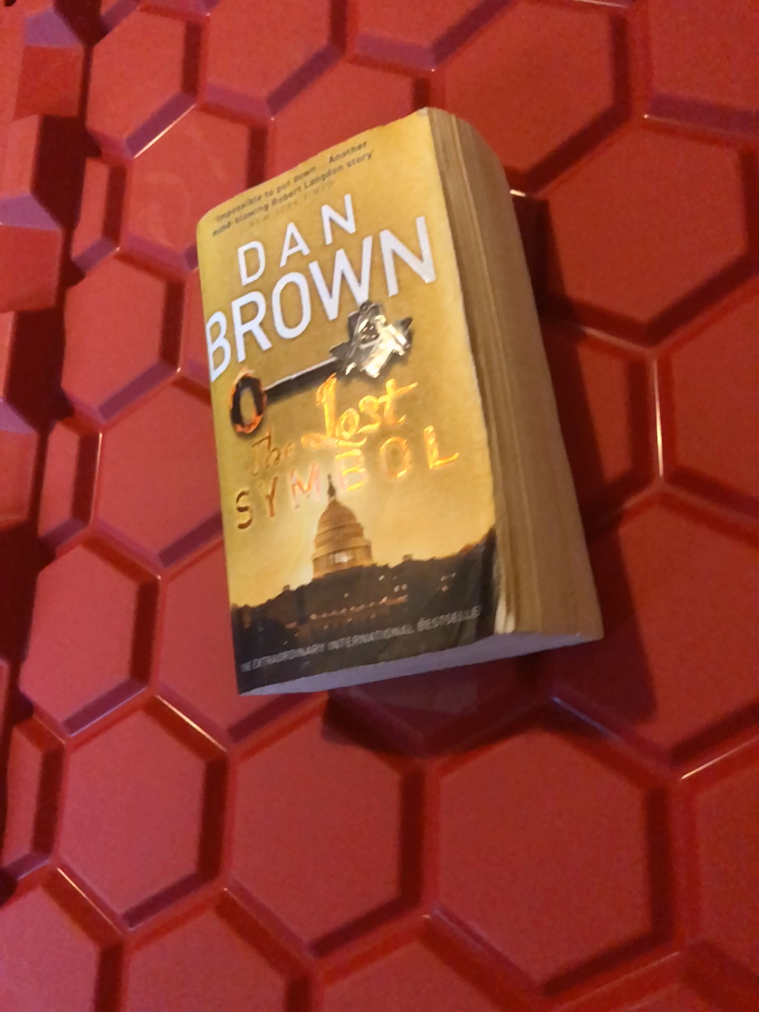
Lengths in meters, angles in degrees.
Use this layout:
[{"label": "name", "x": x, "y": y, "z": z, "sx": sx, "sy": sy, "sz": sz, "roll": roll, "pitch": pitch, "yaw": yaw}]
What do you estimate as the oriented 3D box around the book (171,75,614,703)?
[{"label": "book", "x": -0.003, "y": -0.034, "z": 0.296, "sx": 0.122, "sy": 0.051, "sz": 0.183, "roll": -16, "pitch": 71, "yaw": 24}]
